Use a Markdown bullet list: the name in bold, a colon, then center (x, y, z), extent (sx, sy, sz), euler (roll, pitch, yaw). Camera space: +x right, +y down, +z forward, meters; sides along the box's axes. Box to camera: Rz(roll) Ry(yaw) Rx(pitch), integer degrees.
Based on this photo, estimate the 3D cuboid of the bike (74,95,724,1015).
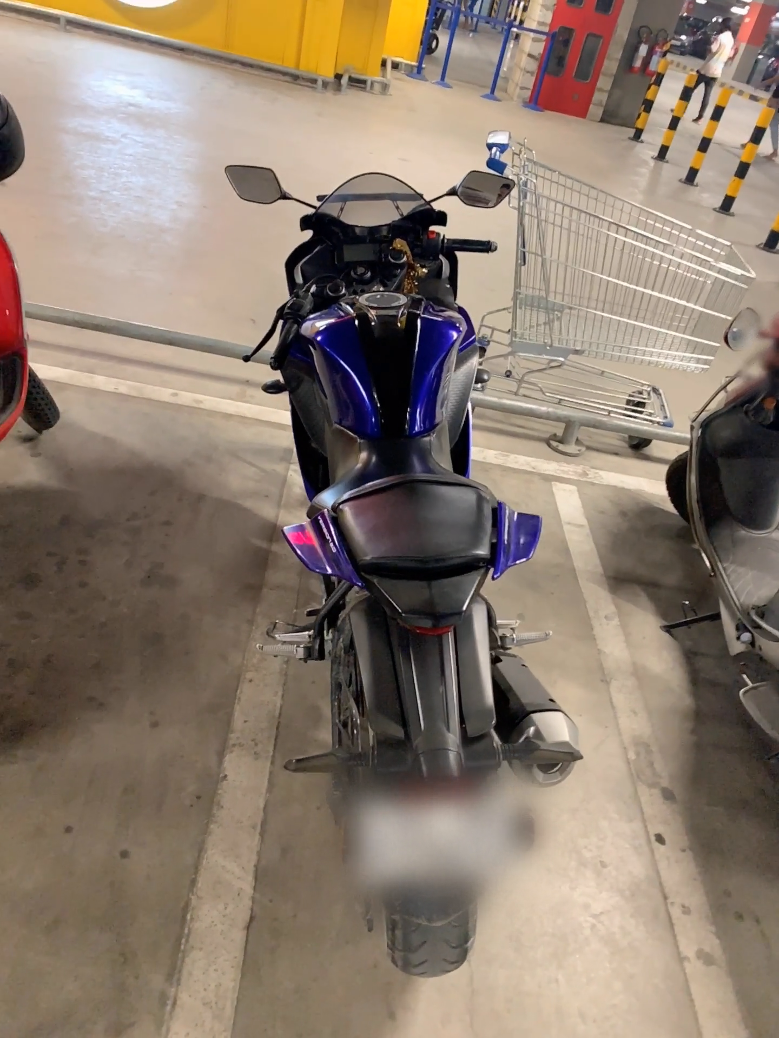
- **bike**: center (-0.255, -0.075, 1.681), extent (0.688, 0.933, 1.655), euler (1, 40, -17)
